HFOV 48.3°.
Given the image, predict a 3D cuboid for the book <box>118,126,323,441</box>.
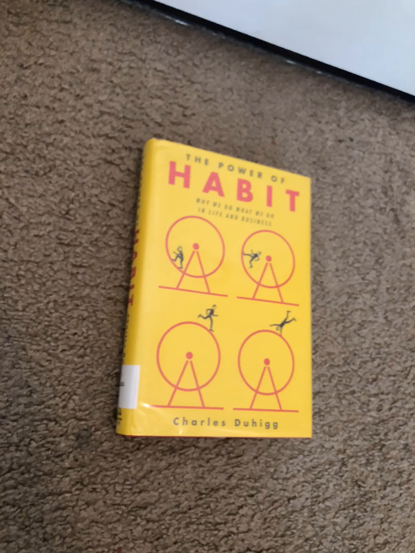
[{"bbox_3d":[0.020,0.010,0.408,0.165,0.040,0.251,9,75,-21],"label":"book"}]
